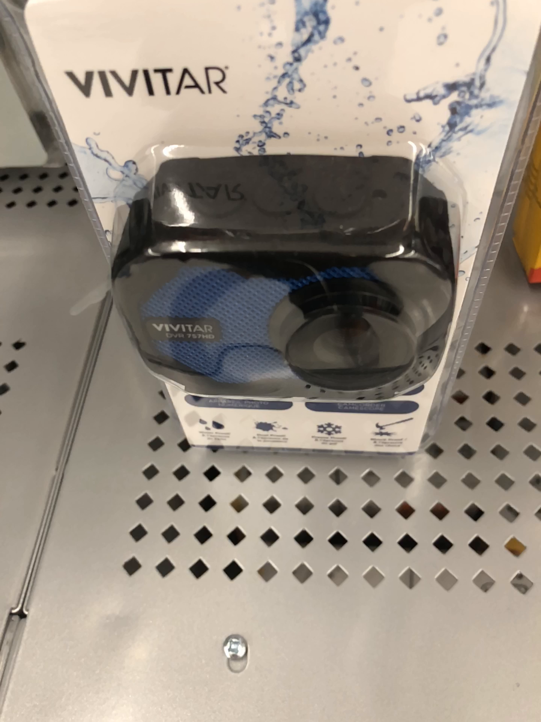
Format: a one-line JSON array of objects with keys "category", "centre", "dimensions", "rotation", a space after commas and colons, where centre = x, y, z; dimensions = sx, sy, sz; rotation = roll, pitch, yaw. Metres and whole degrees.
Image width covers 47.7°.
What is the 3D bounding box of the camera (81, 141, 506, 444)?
[{"category": "camera", "centre": [0.006, -0.013, 0.132], "dimensions": [0.070, 0.050, 0.040], "rotation": [2, 55, 7]}]
